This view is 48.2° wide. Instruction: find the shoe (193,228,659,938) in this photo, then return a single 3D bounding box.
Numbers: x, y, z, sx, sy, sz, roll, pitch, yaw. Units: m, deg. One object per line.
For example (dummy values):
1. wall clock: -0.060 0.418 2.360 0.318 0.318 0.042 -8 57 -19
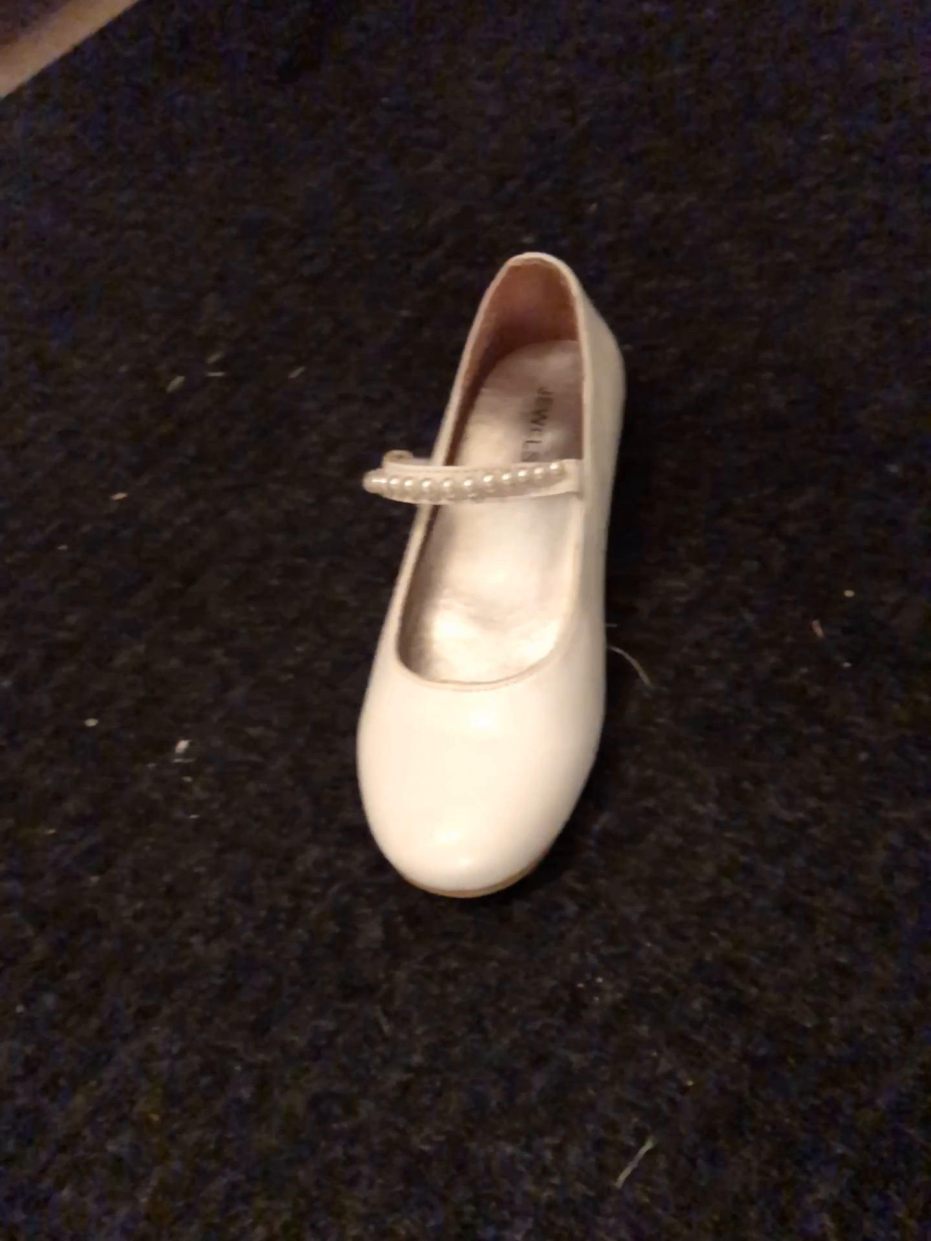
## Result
1. shoe: 0.004 -0.020 0.319 0.080 0.080 0.201 3 57 18
